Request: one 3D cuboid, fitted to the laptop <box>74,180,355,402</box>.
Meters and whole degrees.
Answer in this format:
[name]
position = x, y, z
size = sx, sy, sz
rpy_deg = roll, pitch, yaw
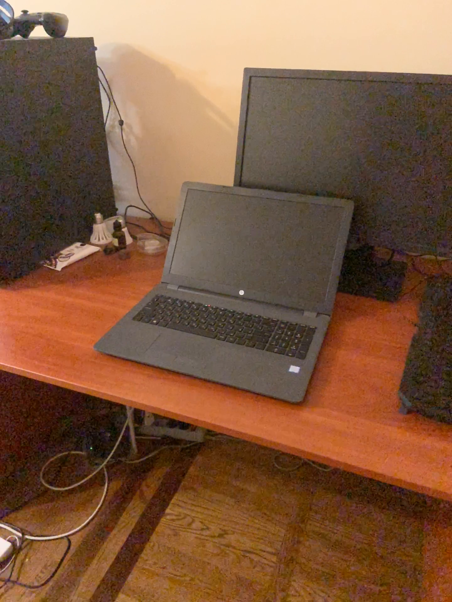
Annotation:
[laptop]
position = 0.011, -0.059, 0.849
size = 0.372, 0.188, 0.393
rpy_deg = 11, 32, 18
